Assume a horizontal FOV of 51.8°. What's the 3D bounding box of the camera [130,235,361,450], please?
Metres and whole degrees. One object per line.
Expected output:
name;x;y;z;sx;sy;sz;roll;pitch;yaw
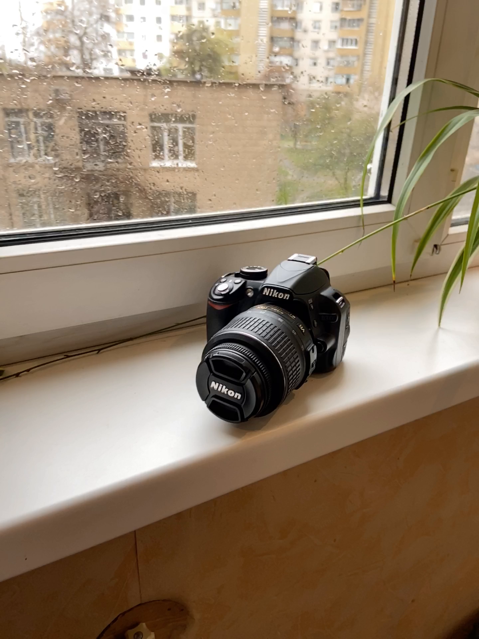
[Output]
camera;0.012;0.004;0.402;0.124;0.091;0.155;14;28;23
